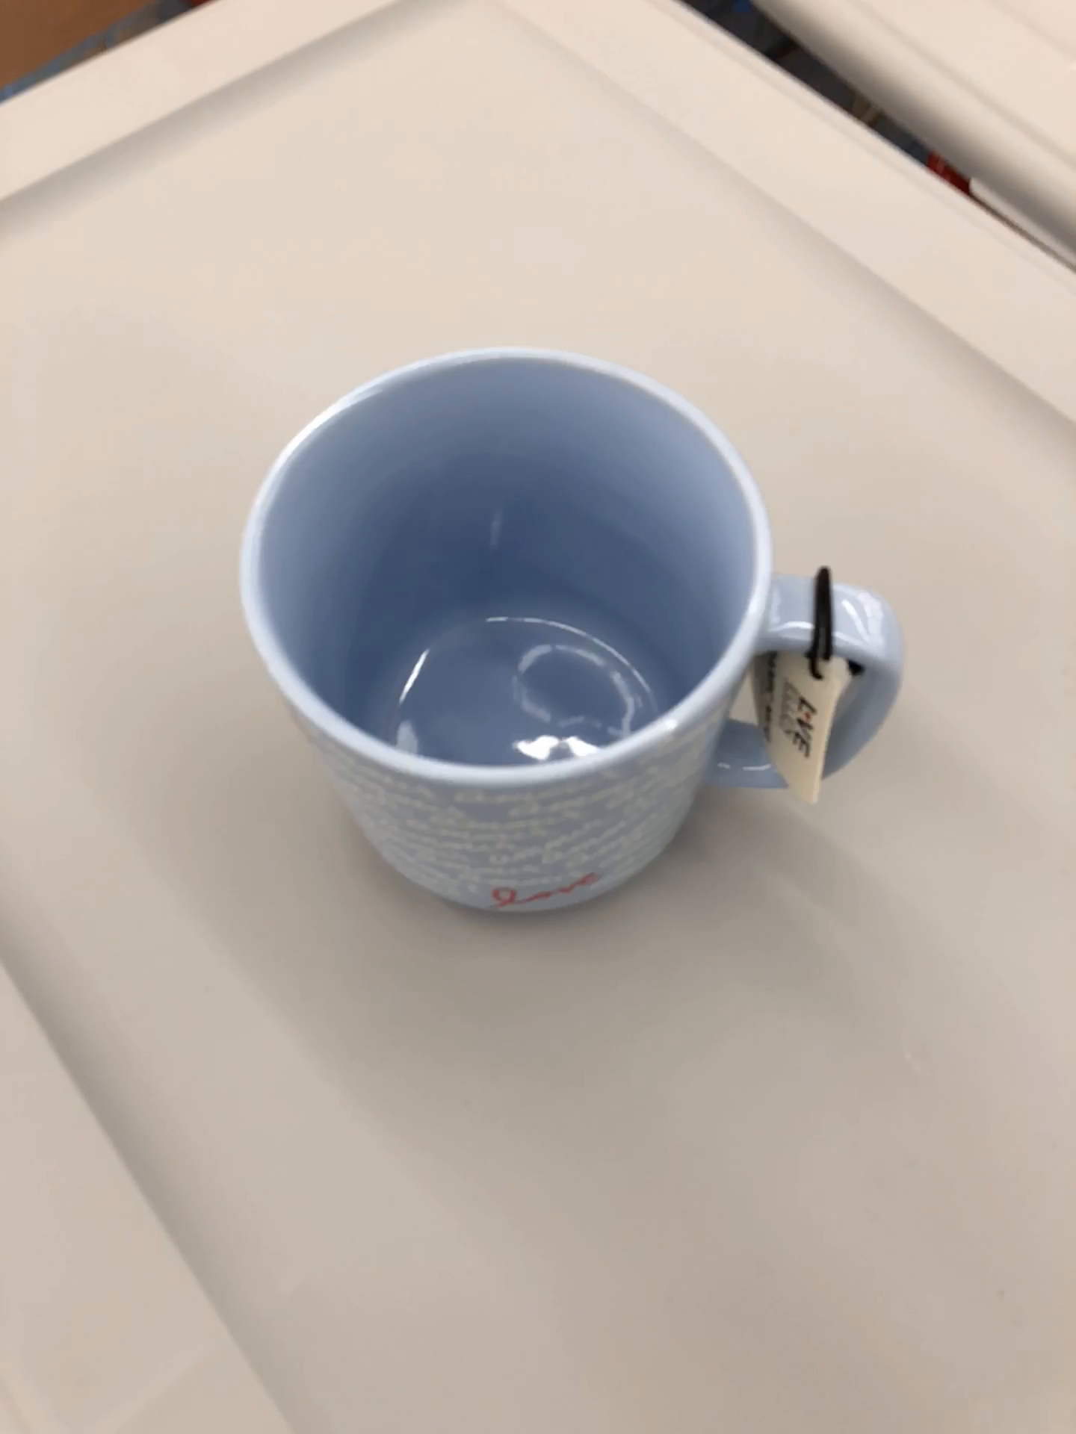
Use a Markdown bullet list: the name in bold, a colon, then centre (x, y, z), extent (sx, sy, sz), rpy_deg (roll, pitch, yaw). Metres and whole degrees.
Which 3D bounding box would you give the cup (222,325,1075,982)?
- **cup**: centre (0.024, -0.011, 0.249), extent (0.140, 0.080, 0.100), rpy_deg (5, 63, 4)
